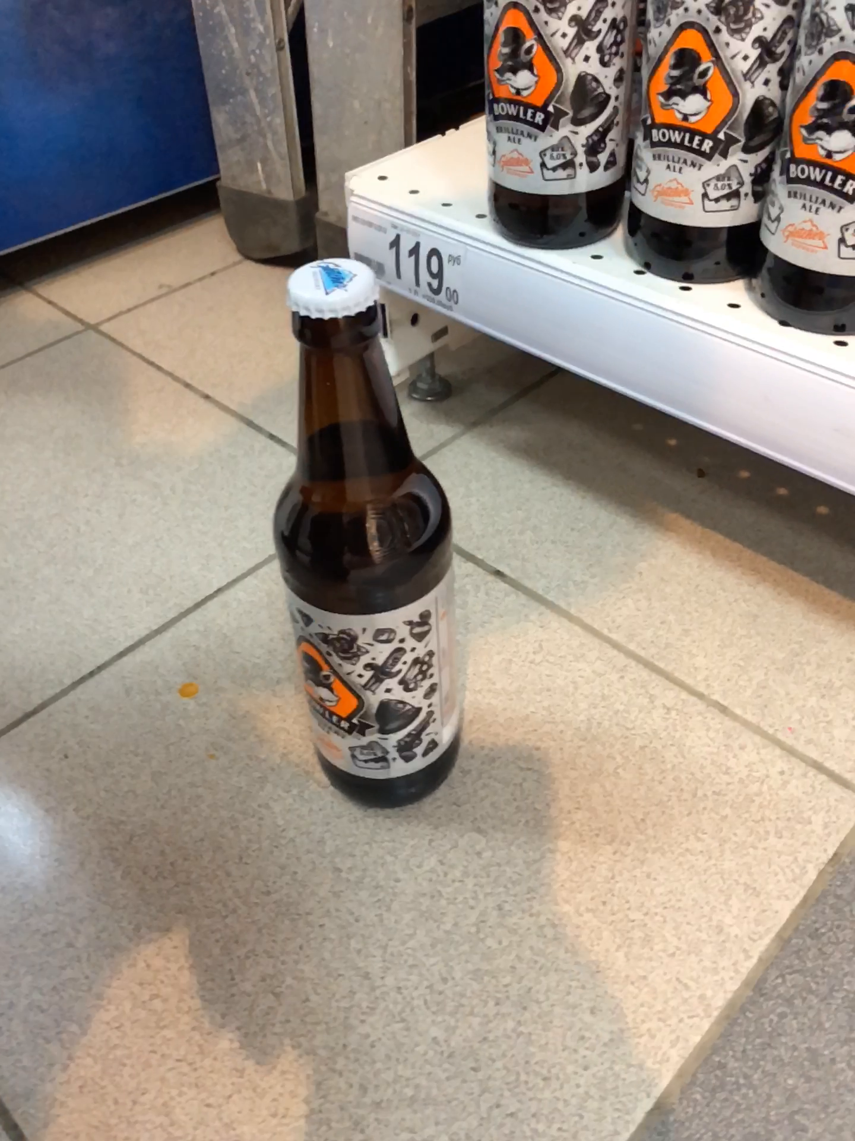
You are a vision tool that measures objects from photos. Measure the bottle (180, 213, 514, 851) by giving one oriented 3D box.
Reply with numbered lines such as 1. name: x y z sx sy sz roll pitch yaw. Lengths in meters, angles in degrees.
1. bottle: -0.019 -0.001 0.368 0.075 0.239 0.070 -2 42 2
